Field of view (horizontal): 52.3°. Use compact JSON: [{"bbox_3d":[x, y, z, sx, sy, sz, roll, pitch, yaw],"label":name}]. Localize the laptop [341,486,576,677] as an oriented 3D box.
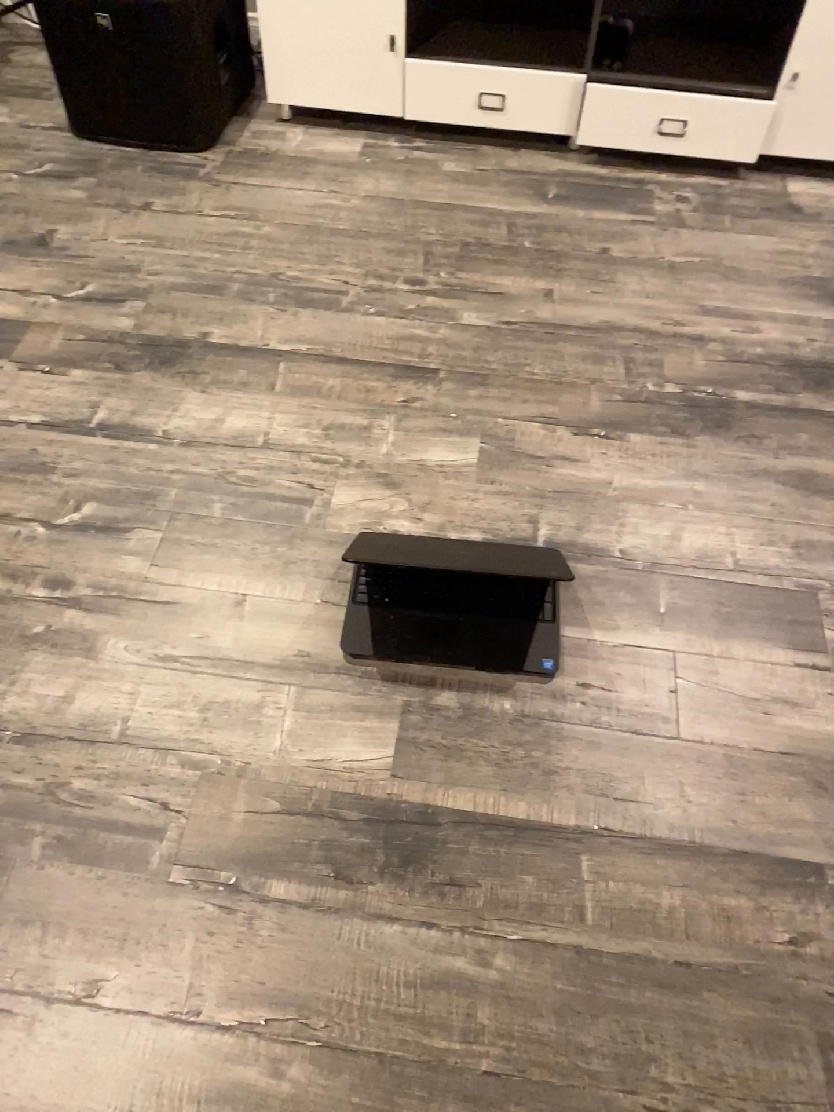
[{"bbox_3d":[0.067,0.041,1.410,0.352,0.170,0.231,6,51,2],"label":"laptop"}]
